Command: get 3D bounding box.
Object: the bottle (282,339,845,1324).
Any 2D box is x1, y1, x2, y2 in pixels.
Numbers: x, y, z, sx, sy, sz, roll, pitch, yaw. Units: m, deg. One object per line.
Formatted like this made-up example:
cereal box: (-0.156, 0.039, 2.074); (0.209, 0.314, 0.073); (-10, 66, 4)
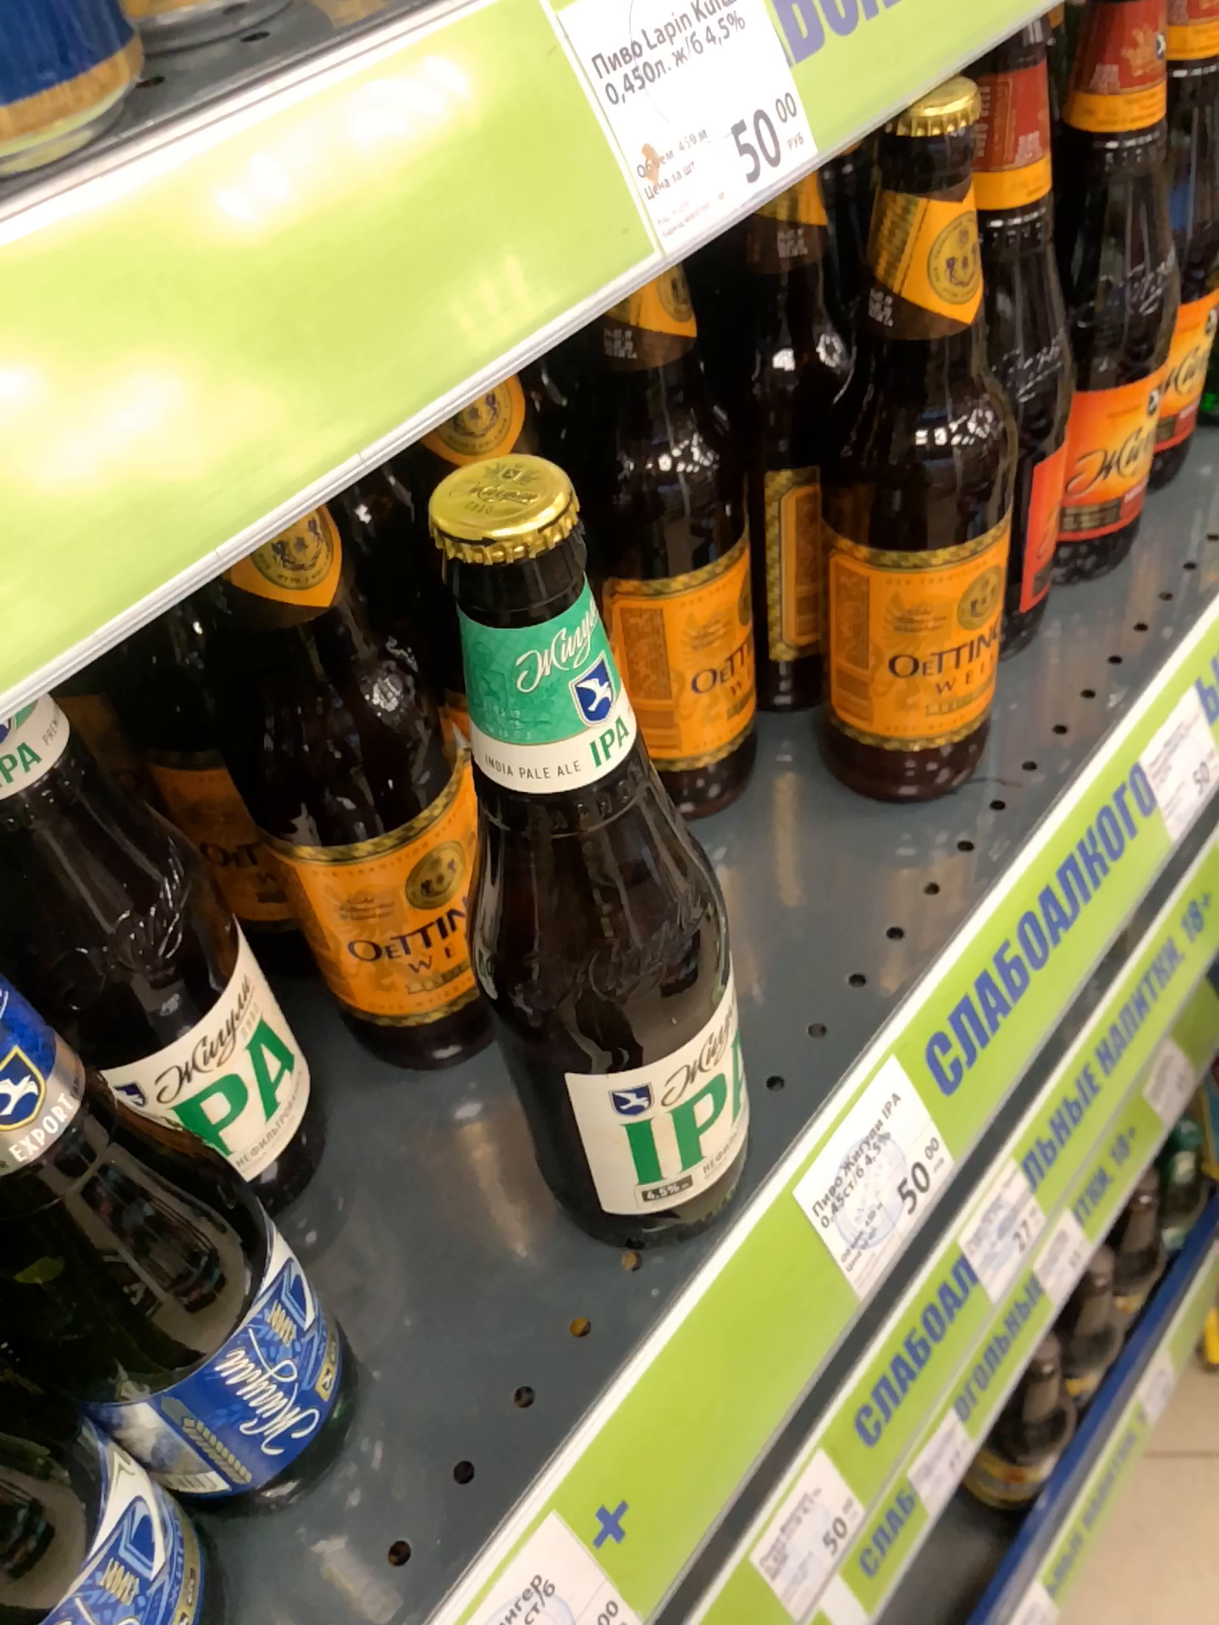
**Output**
bottle: (0.004, 0.026, 0.344); (0.070, 0.257, 0.080); (29, 56, 29)
